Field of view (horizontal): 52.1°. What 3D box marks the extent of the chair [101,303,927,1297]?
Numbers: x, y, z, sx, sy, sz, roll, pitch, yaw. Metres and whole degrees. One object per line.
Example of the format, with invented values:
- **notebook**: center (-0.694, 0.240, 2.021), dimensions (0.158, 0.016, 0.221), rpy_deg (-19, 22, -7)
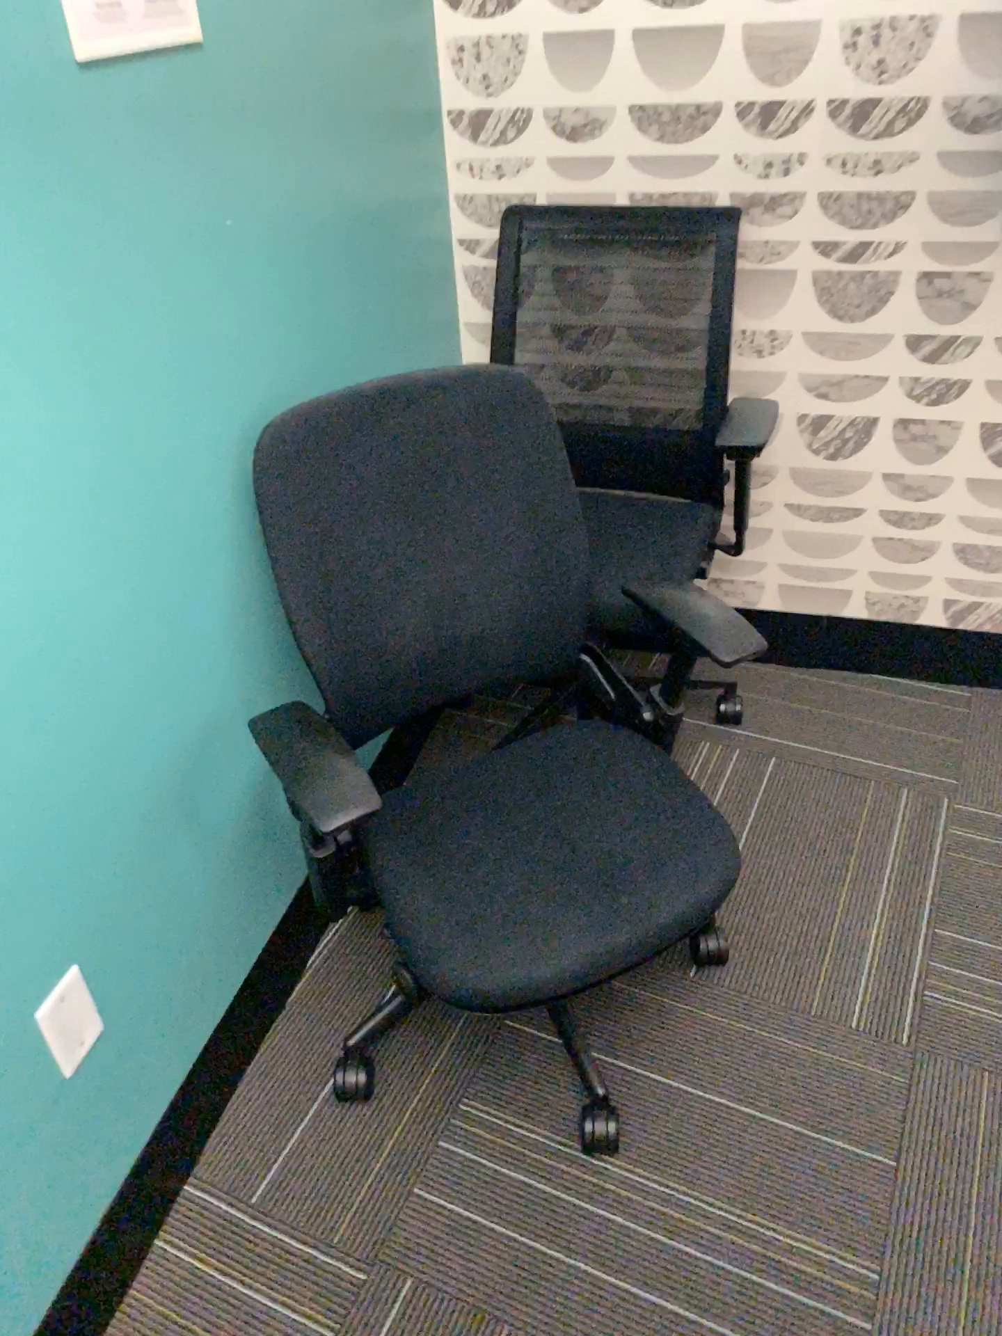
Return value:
- **chair**: center (-0.027, 0.118, 1.432), dimensions (0.660, 0.944, 0.775), rpy_deg (-19, 37, -20)
